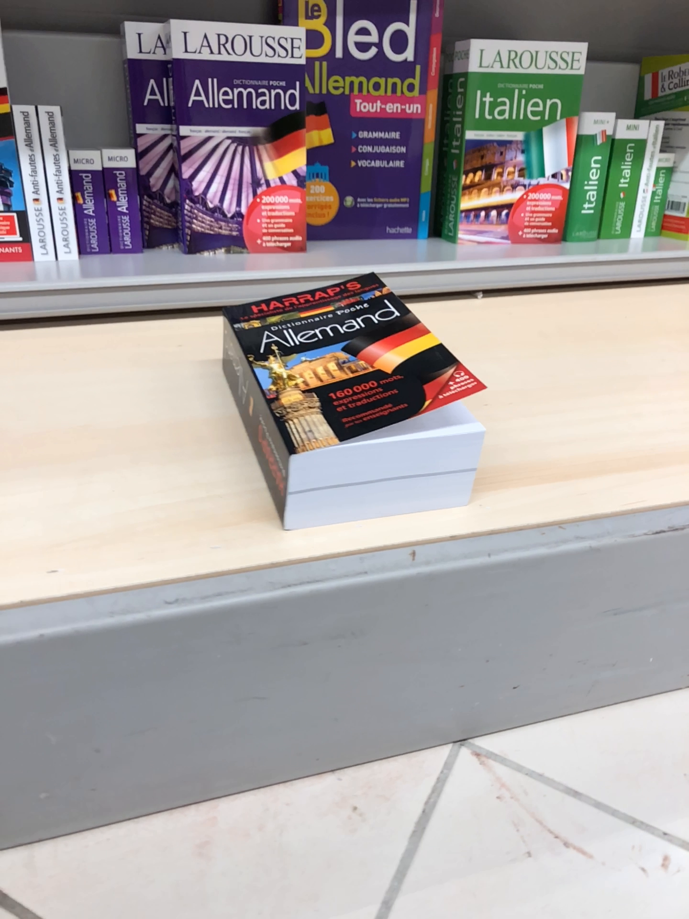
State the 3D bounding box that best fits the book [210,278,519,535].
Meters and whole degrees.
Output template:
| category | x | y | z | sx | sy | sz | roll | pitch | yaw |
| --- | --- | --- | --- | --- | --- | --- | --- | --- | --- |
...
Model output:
| category | x | y | z | sx | sy | sz | roll | pitch | yaw |
| --- | --- | --- | --- | --- | --- | --- | --- | --- | --- |
| book | -0.001 | -0.044 | 0.451 | 0.122 | 0.060 | 0.181 | -7 | 35 | -18 |
